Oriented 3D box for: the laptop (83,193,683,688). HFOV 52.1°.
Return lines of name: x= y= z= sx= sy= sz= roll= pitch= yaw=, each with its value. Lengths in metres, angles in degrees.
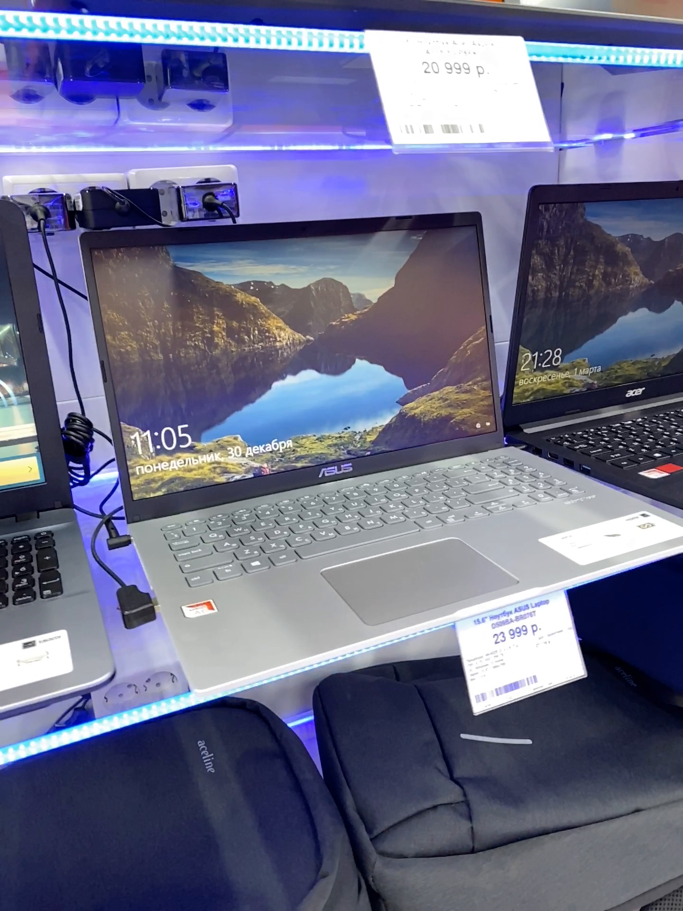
laptop: x=0.030 y=-0.057 z=0.501 sx=0.360 sy=0.216 sz=0.286 roll=-10 pitch=19 yaw=-22
